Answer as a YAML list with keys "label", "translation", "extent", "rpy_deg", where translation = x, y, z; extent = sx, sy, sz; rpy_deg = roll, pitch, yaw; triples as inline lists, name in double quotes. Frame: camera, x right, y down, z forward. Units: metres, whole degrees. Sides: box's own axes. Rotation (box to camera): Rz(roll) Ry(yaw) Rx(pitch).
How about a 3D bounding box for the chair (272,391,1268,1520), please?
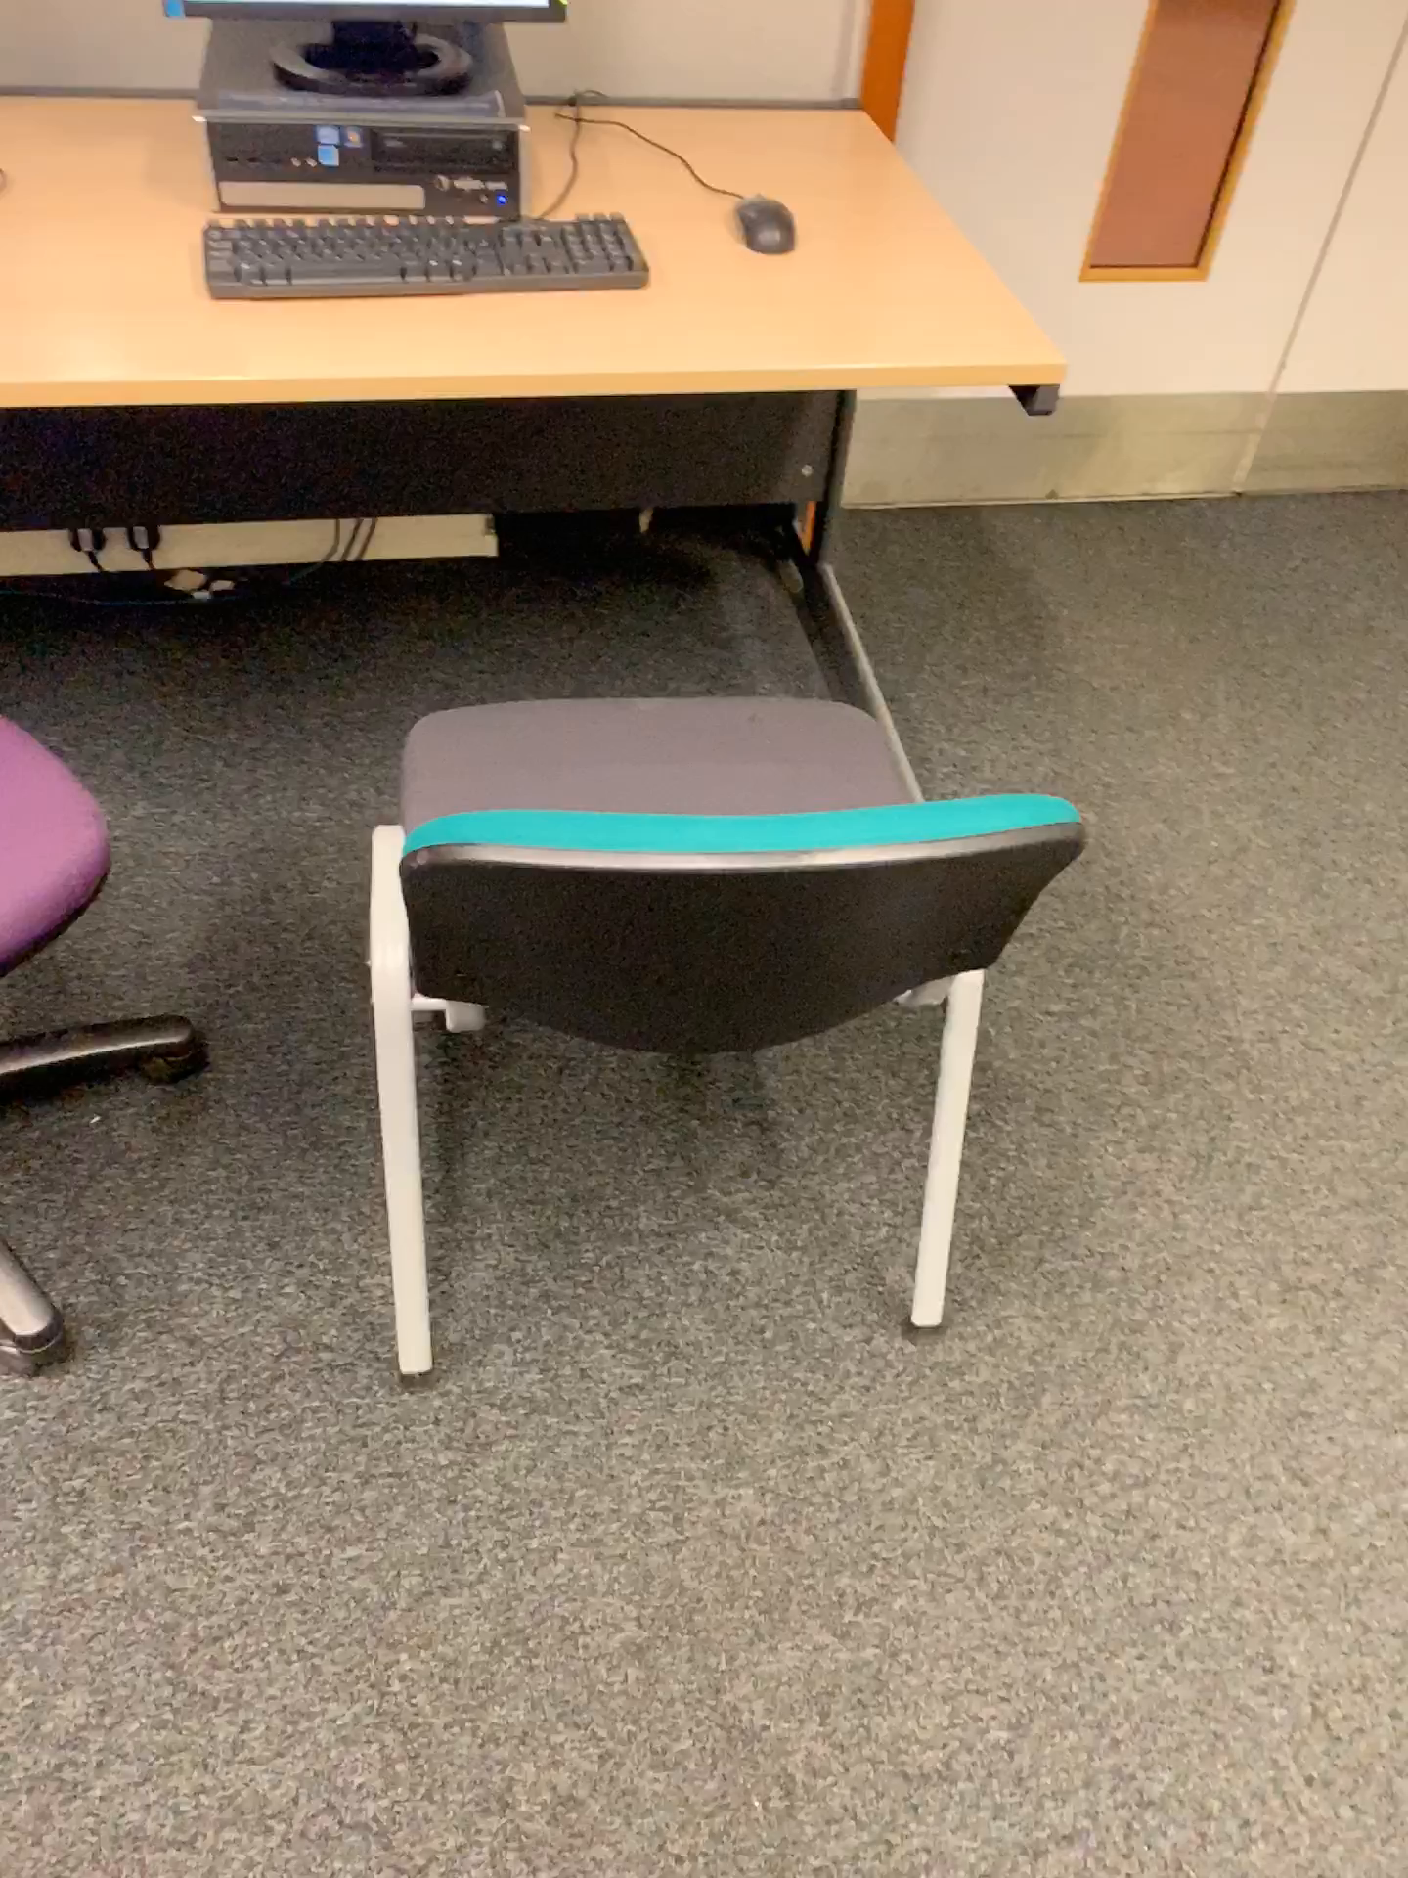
- label: "chair"
  translation: [-0.027, 0.013, 1.233]
  extent: [0.552, 0.721, 0.604]
  rpy_deg: [-4, 46, -10]

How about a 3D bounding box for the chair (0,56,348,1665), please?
- label: "chair"
  translation: [-0.801, -0.073, 1.127]
  extent: [0.670, 0.860, 0.657]
  rpy_deg: [29, 49, 21]
